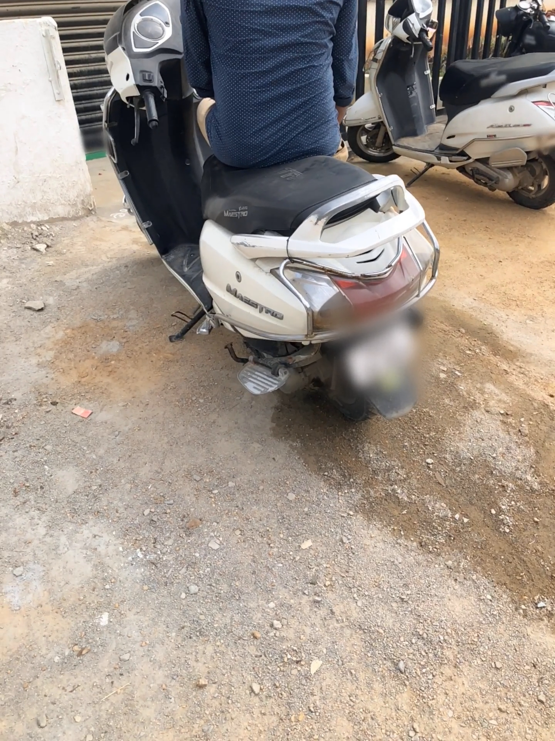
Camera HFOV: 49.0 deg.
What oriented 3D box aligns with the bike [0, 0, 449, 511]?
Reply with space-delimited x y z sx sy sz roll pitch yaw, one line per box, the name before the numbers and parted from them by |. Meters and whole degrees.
bike | -0.327 -0.640 1.969 0.602 1.231 1.558 -22 41 -29
